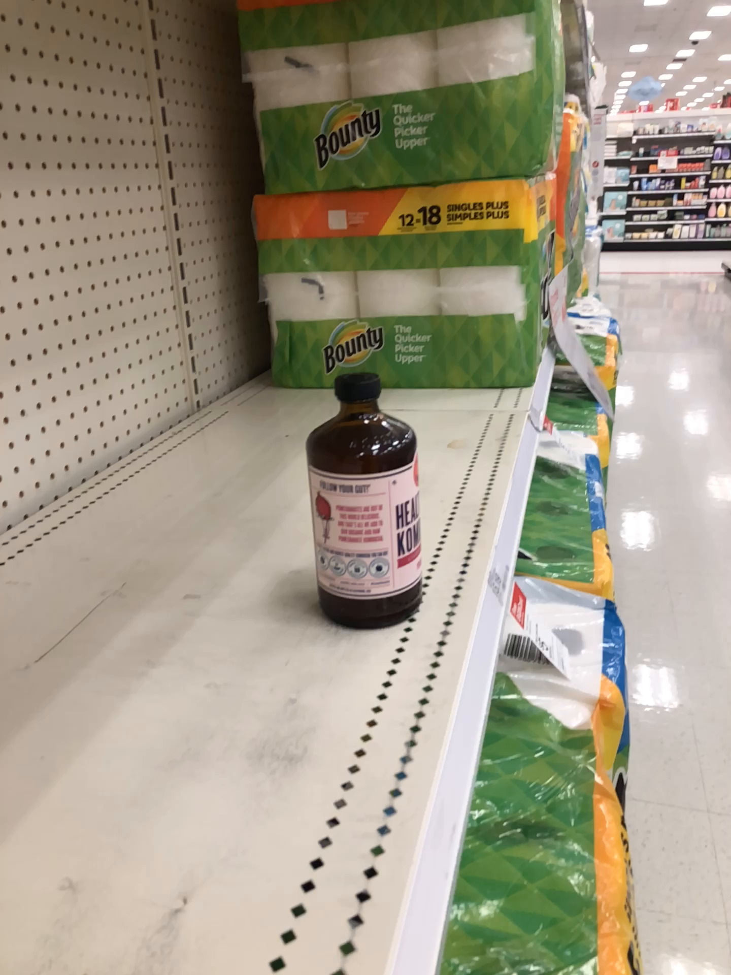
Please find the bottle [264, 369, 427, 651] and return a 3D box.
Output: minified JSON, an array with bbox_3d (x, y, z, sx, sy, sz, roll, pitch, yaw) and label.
[{"bbox_3d":[-0.007,0.012,0.550,0.089,0.169,0.087,-2,21,1],"label":"bottle"}]
